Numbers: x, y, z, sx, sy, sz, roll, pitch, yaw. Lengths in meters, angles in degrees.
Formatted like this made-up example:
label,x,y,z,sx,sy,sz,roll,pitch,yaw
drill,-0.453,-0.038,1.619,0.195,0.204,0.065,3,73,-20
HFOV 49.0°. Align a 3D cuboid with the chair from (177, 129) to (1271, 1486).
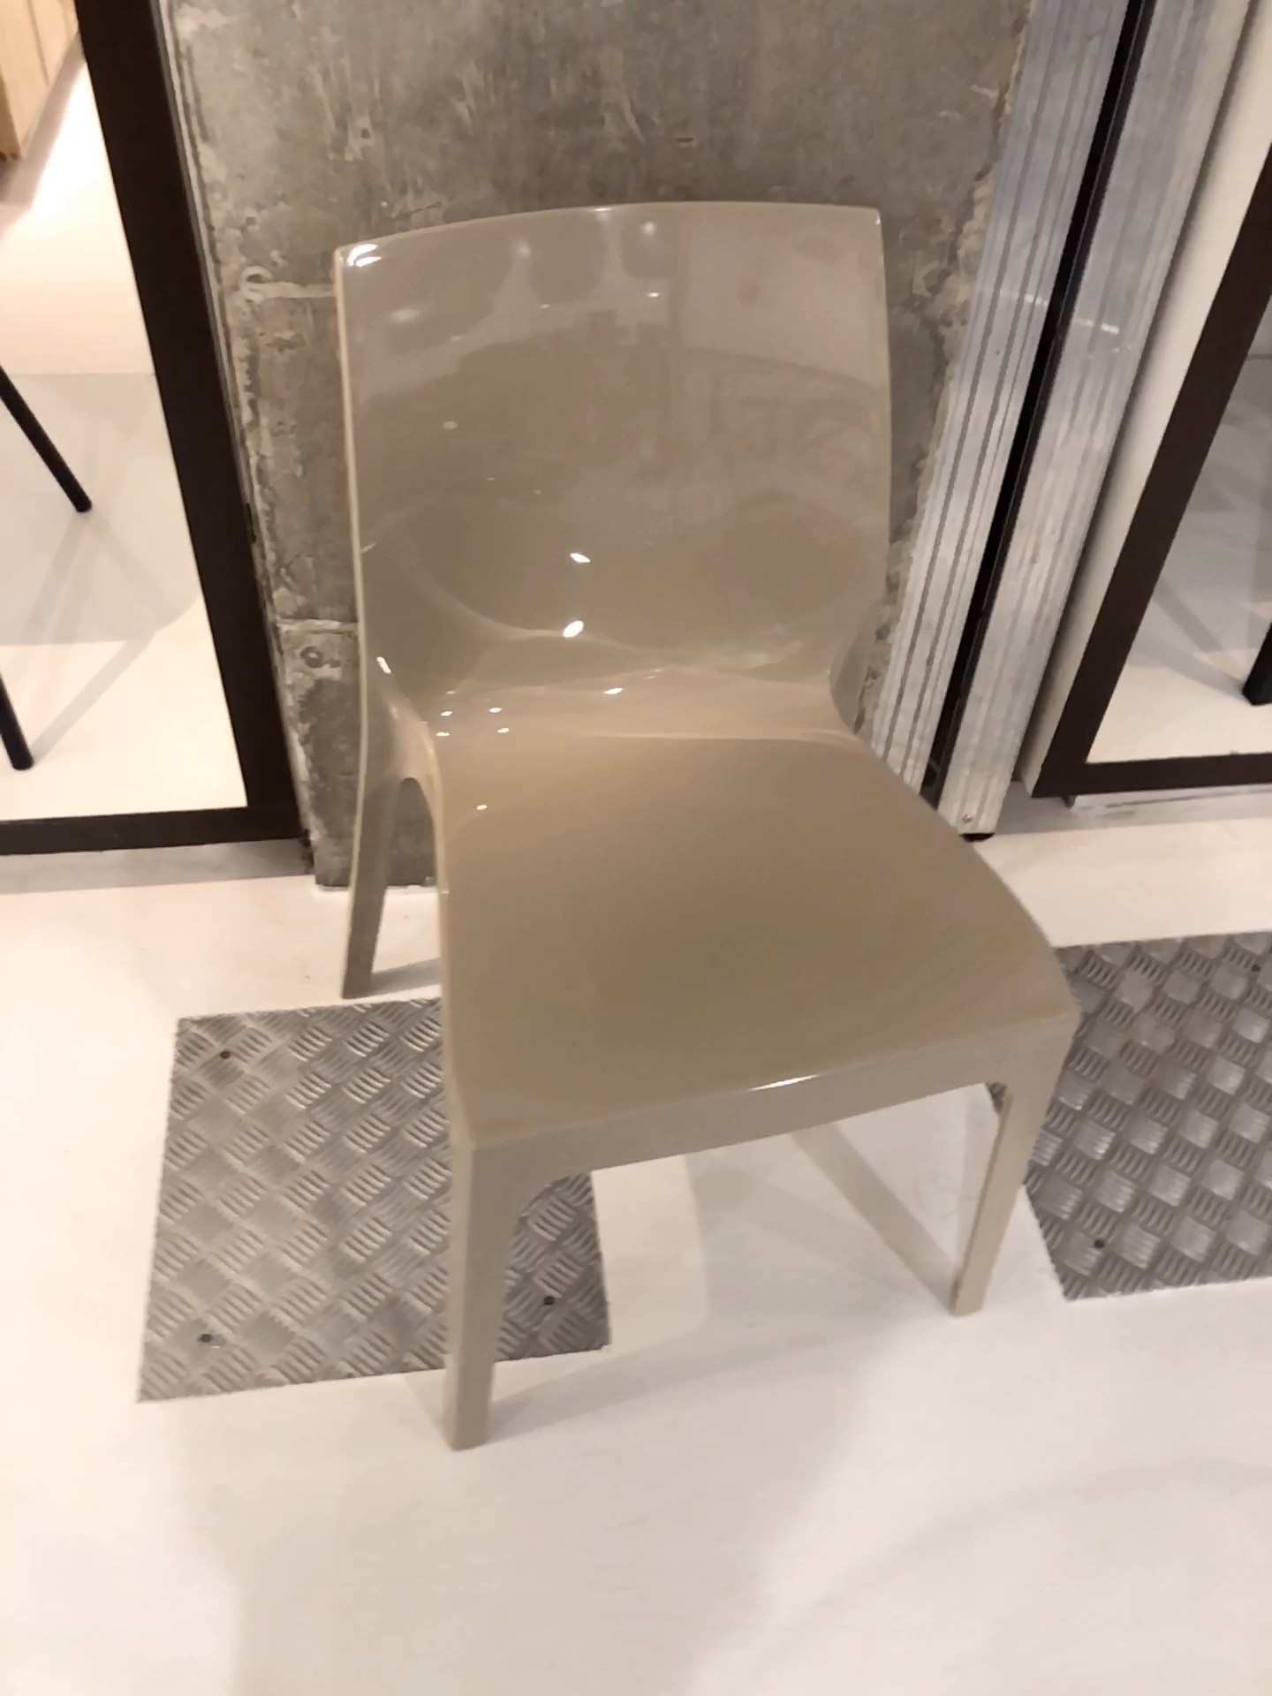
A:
label,x,y,z,sx,sy,sz,roll,pitch,yaw
chair,0.016,-0.007,1.085,0.551,0.824,0.564,-9,48,-13
